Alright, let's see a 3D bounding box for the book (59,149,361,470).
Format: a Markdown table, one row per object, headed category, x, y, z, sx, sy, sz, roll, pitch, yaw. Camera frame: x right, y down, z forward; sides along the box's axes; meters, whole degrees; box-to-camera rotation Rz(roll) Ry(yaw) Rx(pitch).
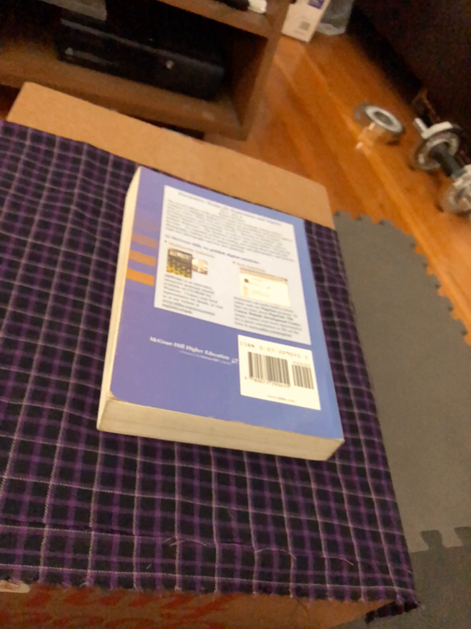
| category | x | y | z | sx | sy | sz | roll | pitch | yaw |
| --- | --- | --- | --- | --- | --- | --- | --- | --- | --- |
| book | -0.018 | -0.015 | 0.397 | 0.180 | 0.040 | 0.241 | 12 | 47 | -19 |
